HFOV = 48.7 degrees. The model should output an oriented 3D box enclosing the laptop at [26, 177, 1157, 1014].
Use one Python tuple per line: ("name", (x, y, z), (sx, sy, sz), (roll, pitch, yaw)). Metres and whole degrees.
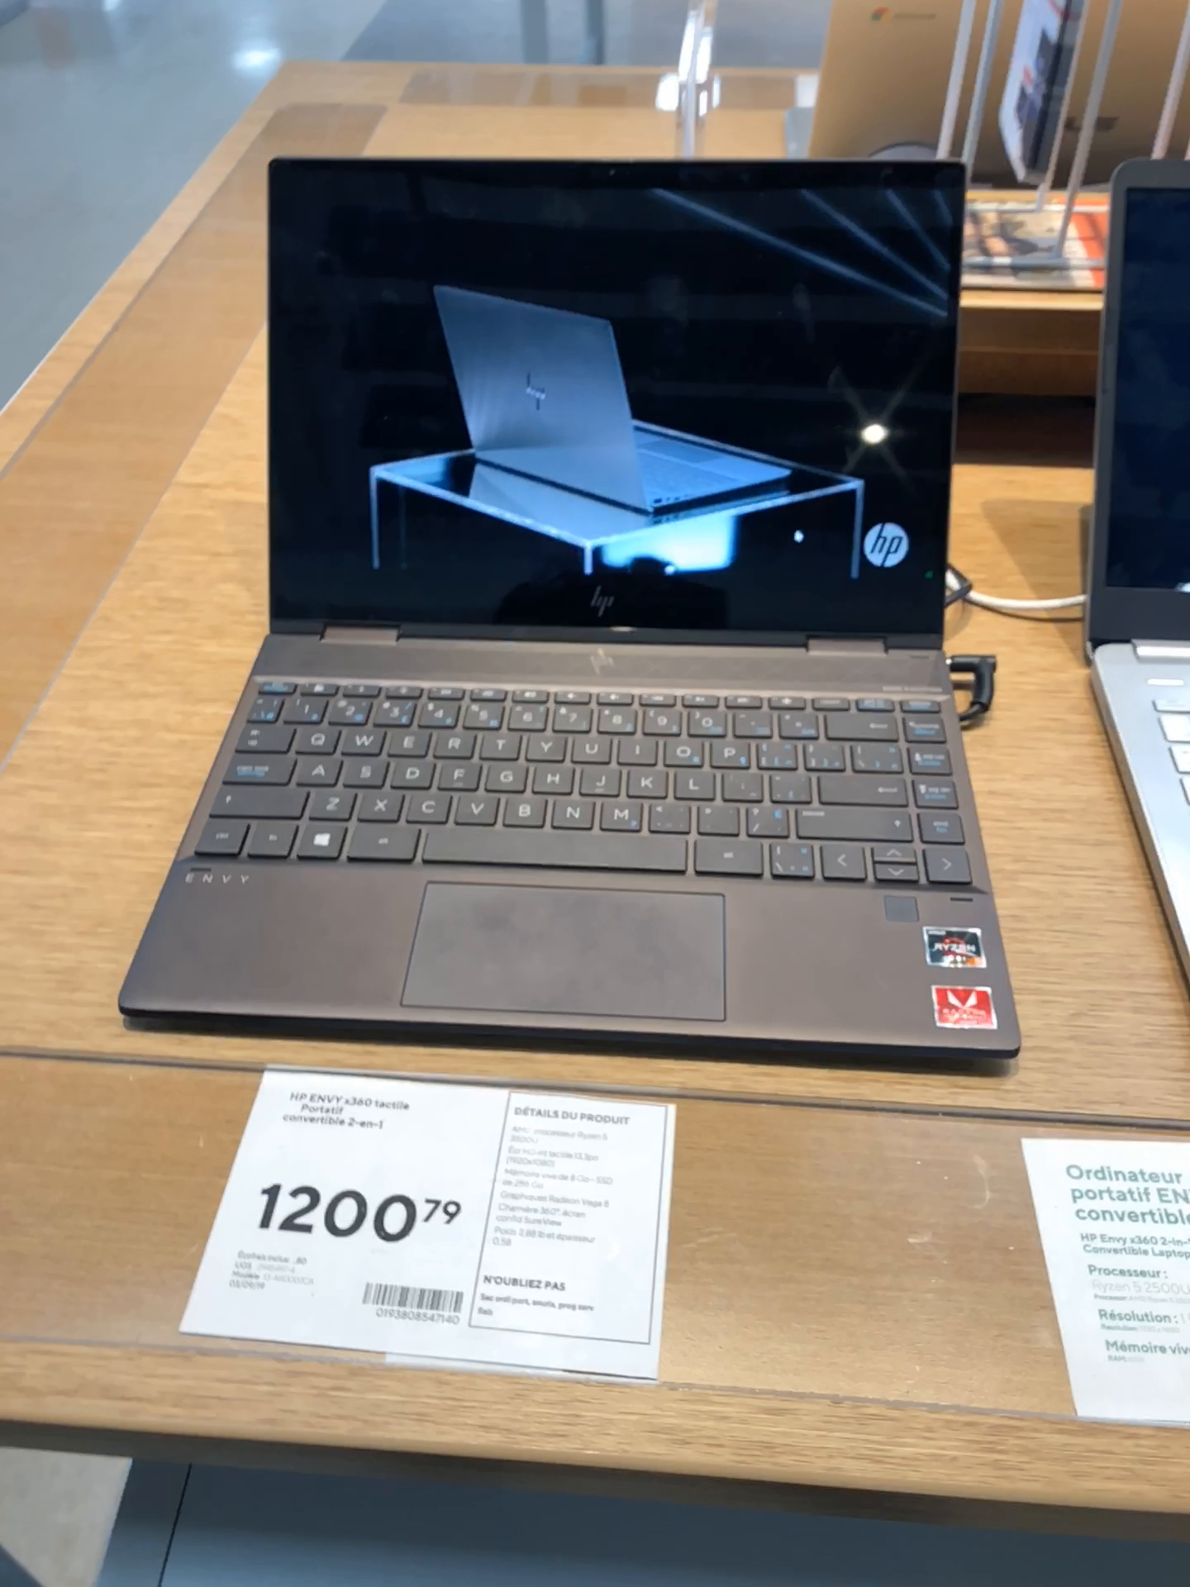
("laptop", (0.009, -0.098, 0.511), (0.293, 0.162, 0.319), (2, 44, 4))
